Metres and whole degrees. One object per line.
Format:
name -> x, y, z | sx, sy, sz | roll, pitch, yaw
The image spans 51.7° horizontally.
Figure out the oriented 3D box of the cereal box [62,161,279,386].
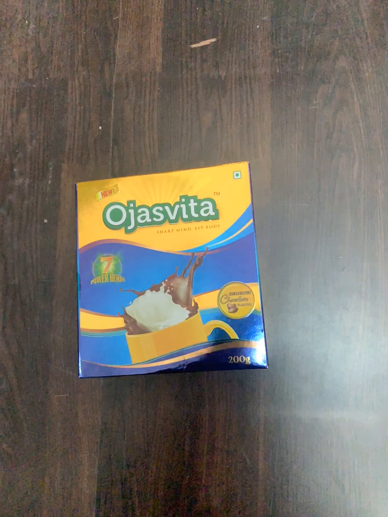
cereal box -> -0.020, 0.013, 0.309 | 0.150, 0.040, 0.150 | -6, 80, 7
